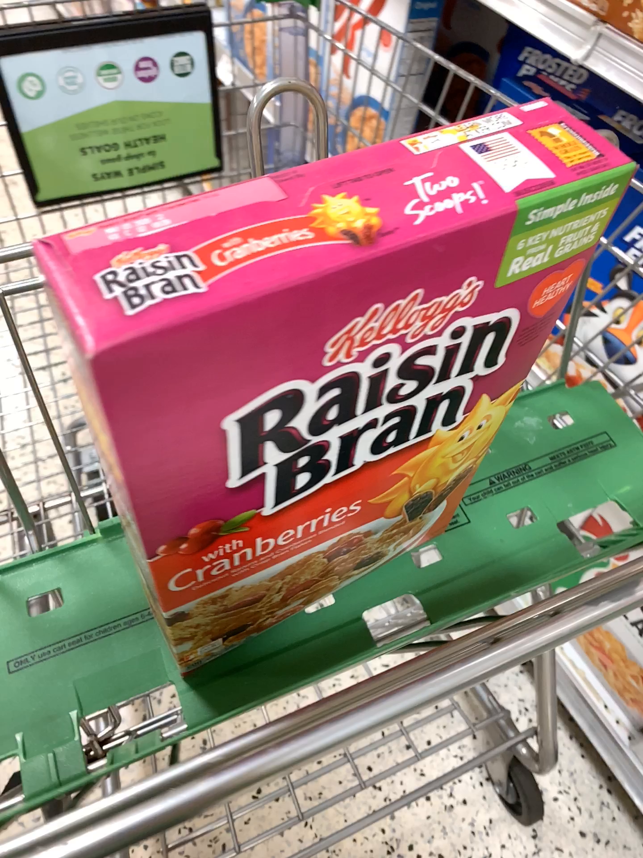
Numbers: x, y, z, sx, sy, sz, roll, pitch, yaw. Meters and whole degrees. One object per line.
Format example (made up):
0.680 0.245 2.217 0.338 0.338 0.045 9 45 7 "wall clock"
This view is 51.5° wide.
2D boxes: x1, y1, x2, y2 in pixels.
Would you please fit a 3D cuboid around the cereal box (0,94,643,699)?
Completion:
-0.002 0.021 0.341 0.211 0.327 0.050 -24 61 -21 "cereal box"
